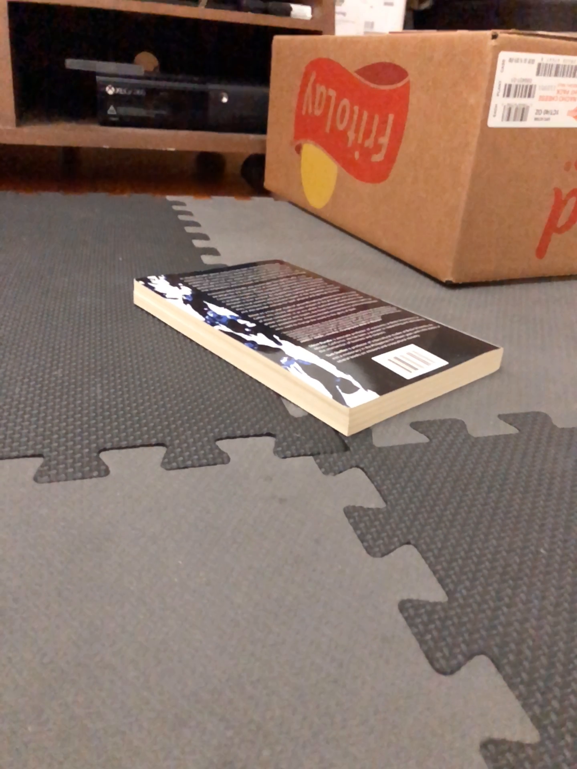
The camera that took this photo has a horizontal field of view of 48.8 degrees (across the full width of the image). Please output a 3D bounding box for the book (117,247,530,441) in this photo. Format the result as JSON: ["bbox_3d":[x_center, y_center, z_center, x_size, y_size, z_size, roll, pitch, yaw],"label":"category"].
[{"bbox_3d":[0.013,-0.045,0.417,0.150,0.020,0.231,-19,35,-38],"label":"book"}]

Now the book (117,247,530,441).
[{"bbox_3d":[0.013,-0.045,0.417,0.150,0.020,0.231,-19,35,-38],"label":"book"}]
